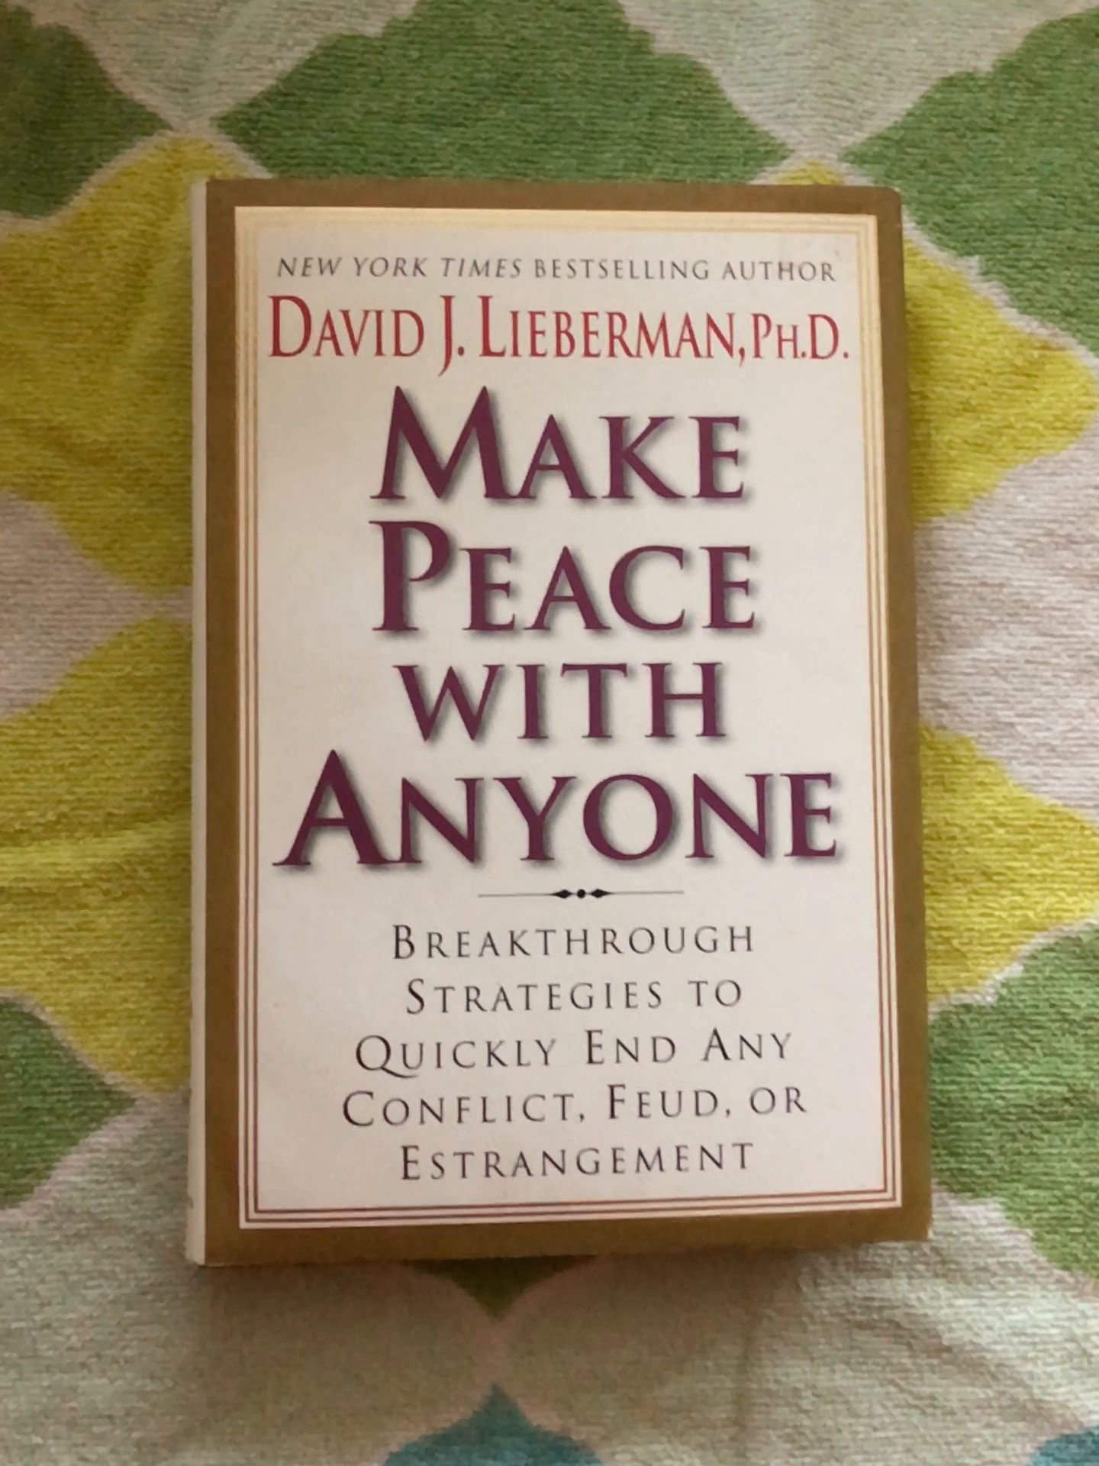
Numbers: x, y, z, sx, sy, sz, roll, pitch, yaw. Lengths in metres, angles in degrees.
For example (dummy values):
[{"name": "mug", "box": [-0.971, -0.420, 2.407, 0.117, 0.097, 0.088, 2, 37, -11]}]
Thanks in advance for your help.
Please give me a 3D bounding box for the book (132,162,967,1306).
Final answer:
[{"name": "book", "box": [-0.001, -0.003, 0.235, 0.145, 0.030, 0.204, -1, 85, -3]}]
